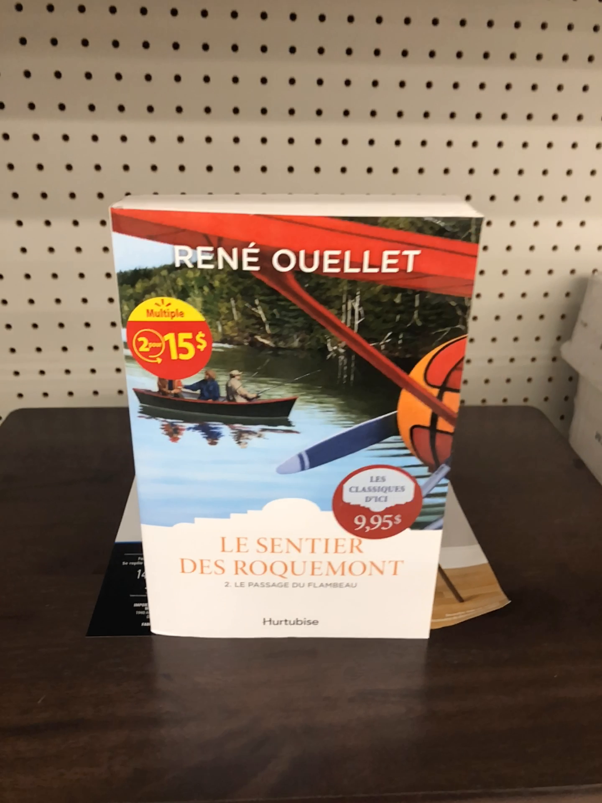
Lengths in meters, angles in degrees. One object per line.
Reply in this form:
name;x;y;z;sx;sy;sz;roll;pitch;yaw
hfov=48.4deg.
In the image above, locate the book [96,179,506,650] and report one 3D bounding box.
book;-0.003;0.012;0.322;0.153;0.215;0.065;1;24;-1
